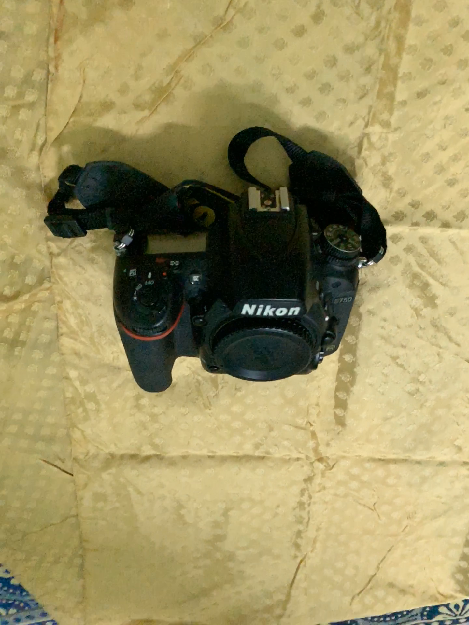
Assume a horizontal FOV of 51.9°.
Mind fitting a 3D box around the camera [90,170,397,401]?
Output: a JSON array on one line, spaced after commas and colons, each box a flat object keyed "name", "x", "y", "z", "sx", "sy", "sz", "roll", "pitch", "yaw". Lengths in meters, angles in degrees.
[{"name": "camera", "x": 0.003, "y": -0.009, "z": 0.270, "sx": 0.130, "sy": 0.073, "sz": 0.111, "roll": 1, "pitch": 143, "yaw": -1}]
